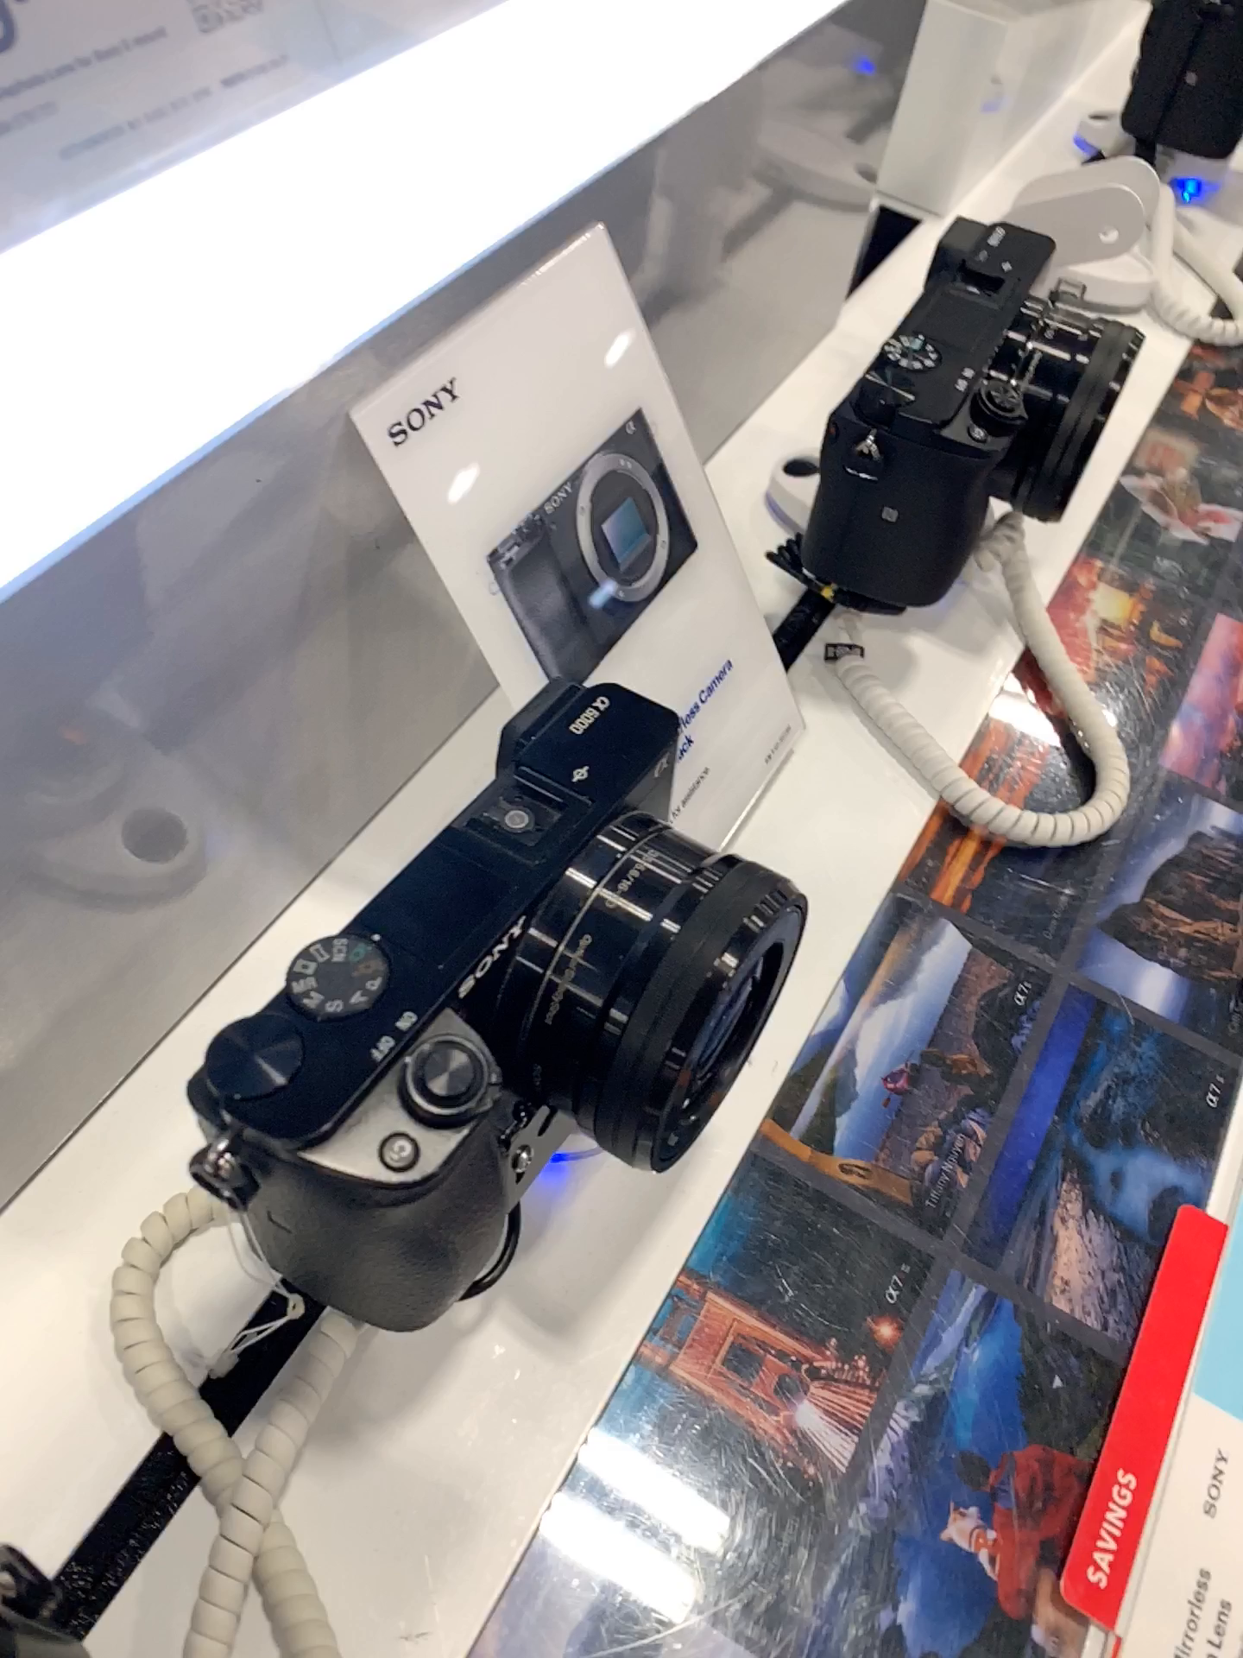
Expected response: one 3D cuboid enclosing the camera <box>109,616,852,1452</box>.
[{"bbox_3d":[-0.017,0.033,0.241,0.065,0.074,0.120,25,52,20],"label":"camera"}]
